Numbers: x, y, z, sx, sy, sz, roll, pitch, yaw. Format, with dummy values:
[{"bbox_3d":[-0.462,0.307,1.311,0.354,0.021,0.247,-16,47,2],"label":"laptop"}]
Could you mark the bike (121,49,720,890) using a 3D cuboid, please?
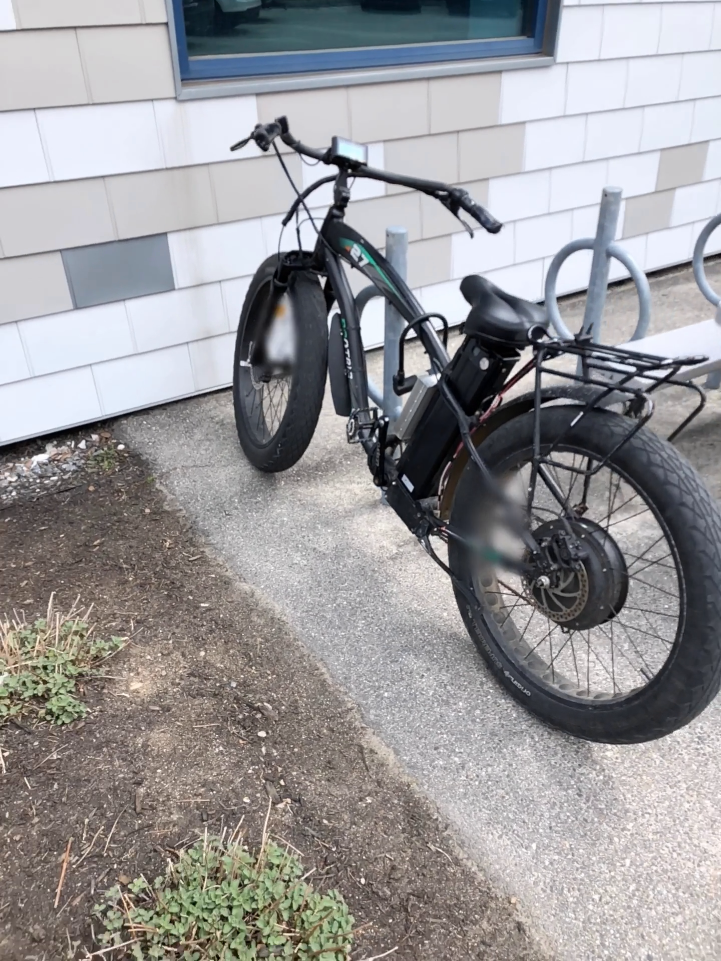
[{"bbox_3d":[0.238,-0.307,2.015,0.913,1.132,1.865,-20,41,-26],"label":"bike"}]
